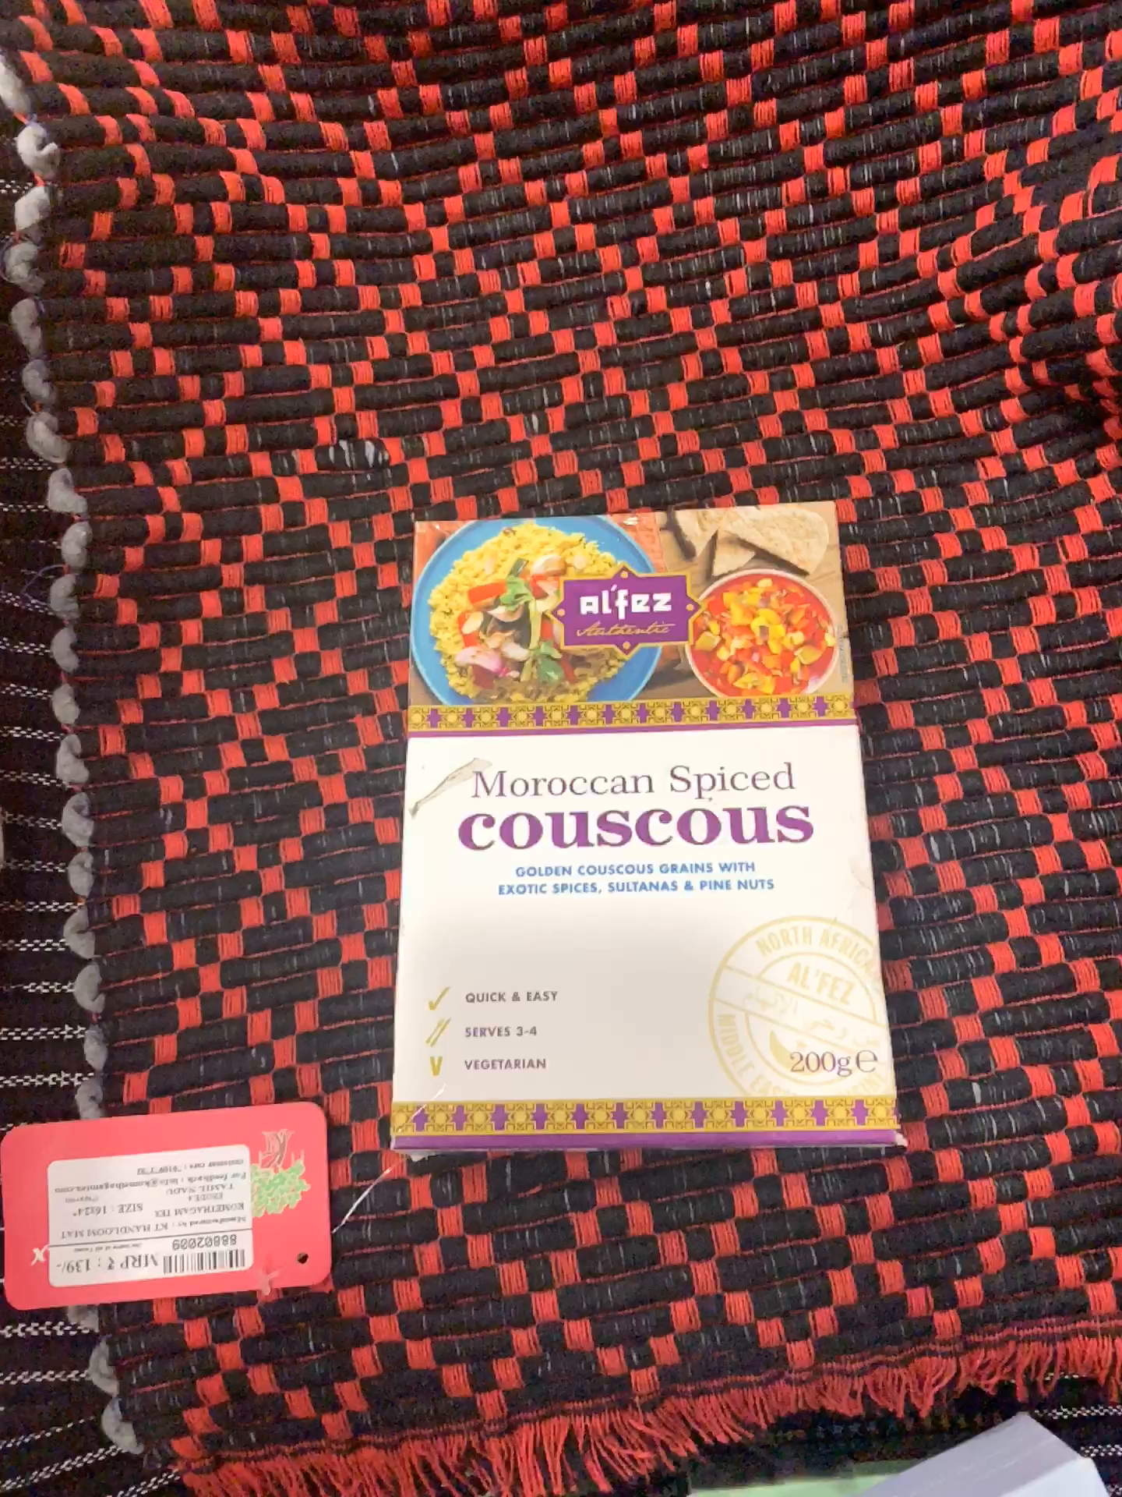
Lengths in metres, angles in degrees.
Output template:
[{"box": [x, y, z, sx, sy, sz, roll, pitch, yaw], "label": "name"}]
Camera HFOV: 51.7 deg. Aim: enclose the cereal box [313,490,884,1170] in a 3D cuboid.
[{"box": [0.007, 0.020, 0.295, 0.120, 0.050, 0.160, -3, 70, 3], "label": "cereal box"}]
